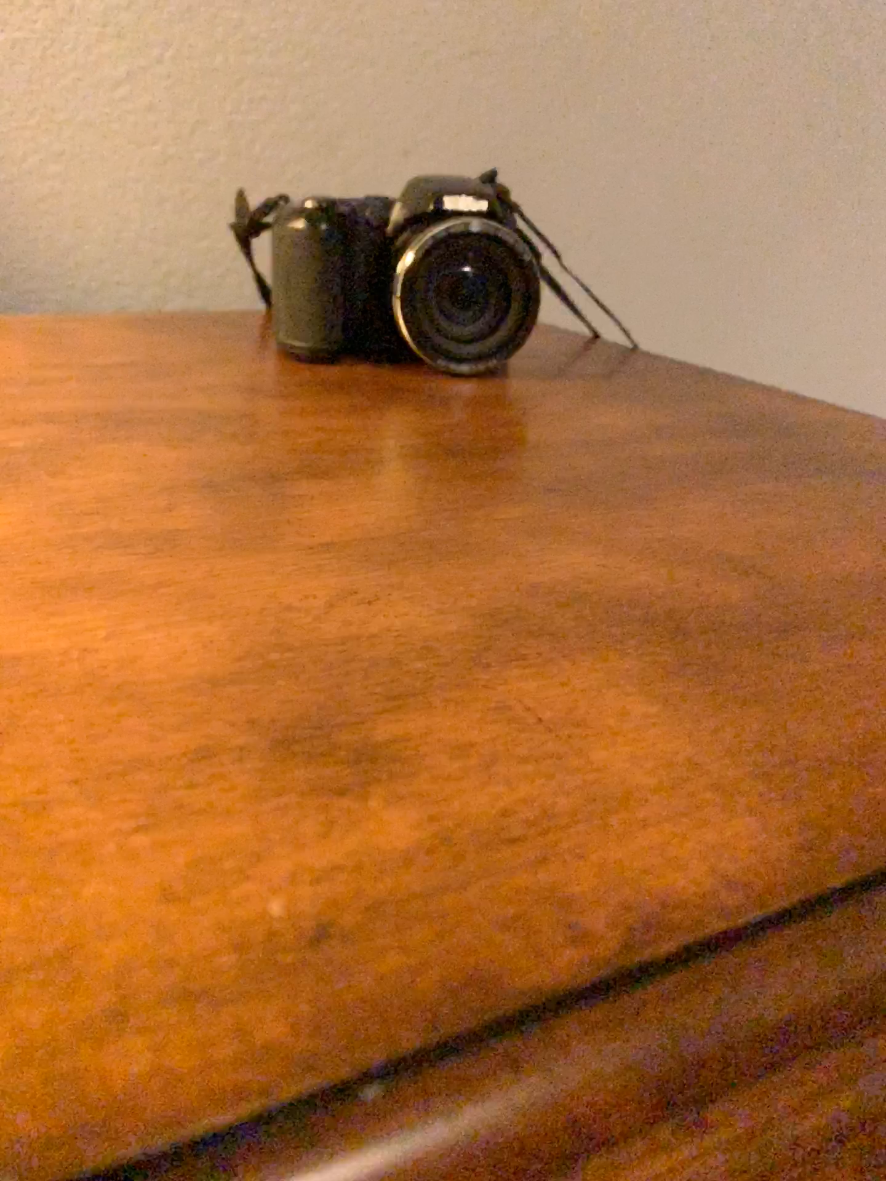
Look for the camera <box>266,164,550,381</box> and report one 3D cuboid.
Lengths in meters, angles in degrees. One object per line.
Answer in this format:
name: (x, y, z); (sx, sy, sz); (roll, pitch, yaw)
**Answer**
camera: (-0.024, -0.150, 0.431); (0.110, 0.081, 0.123); (-3, 23, -11)
